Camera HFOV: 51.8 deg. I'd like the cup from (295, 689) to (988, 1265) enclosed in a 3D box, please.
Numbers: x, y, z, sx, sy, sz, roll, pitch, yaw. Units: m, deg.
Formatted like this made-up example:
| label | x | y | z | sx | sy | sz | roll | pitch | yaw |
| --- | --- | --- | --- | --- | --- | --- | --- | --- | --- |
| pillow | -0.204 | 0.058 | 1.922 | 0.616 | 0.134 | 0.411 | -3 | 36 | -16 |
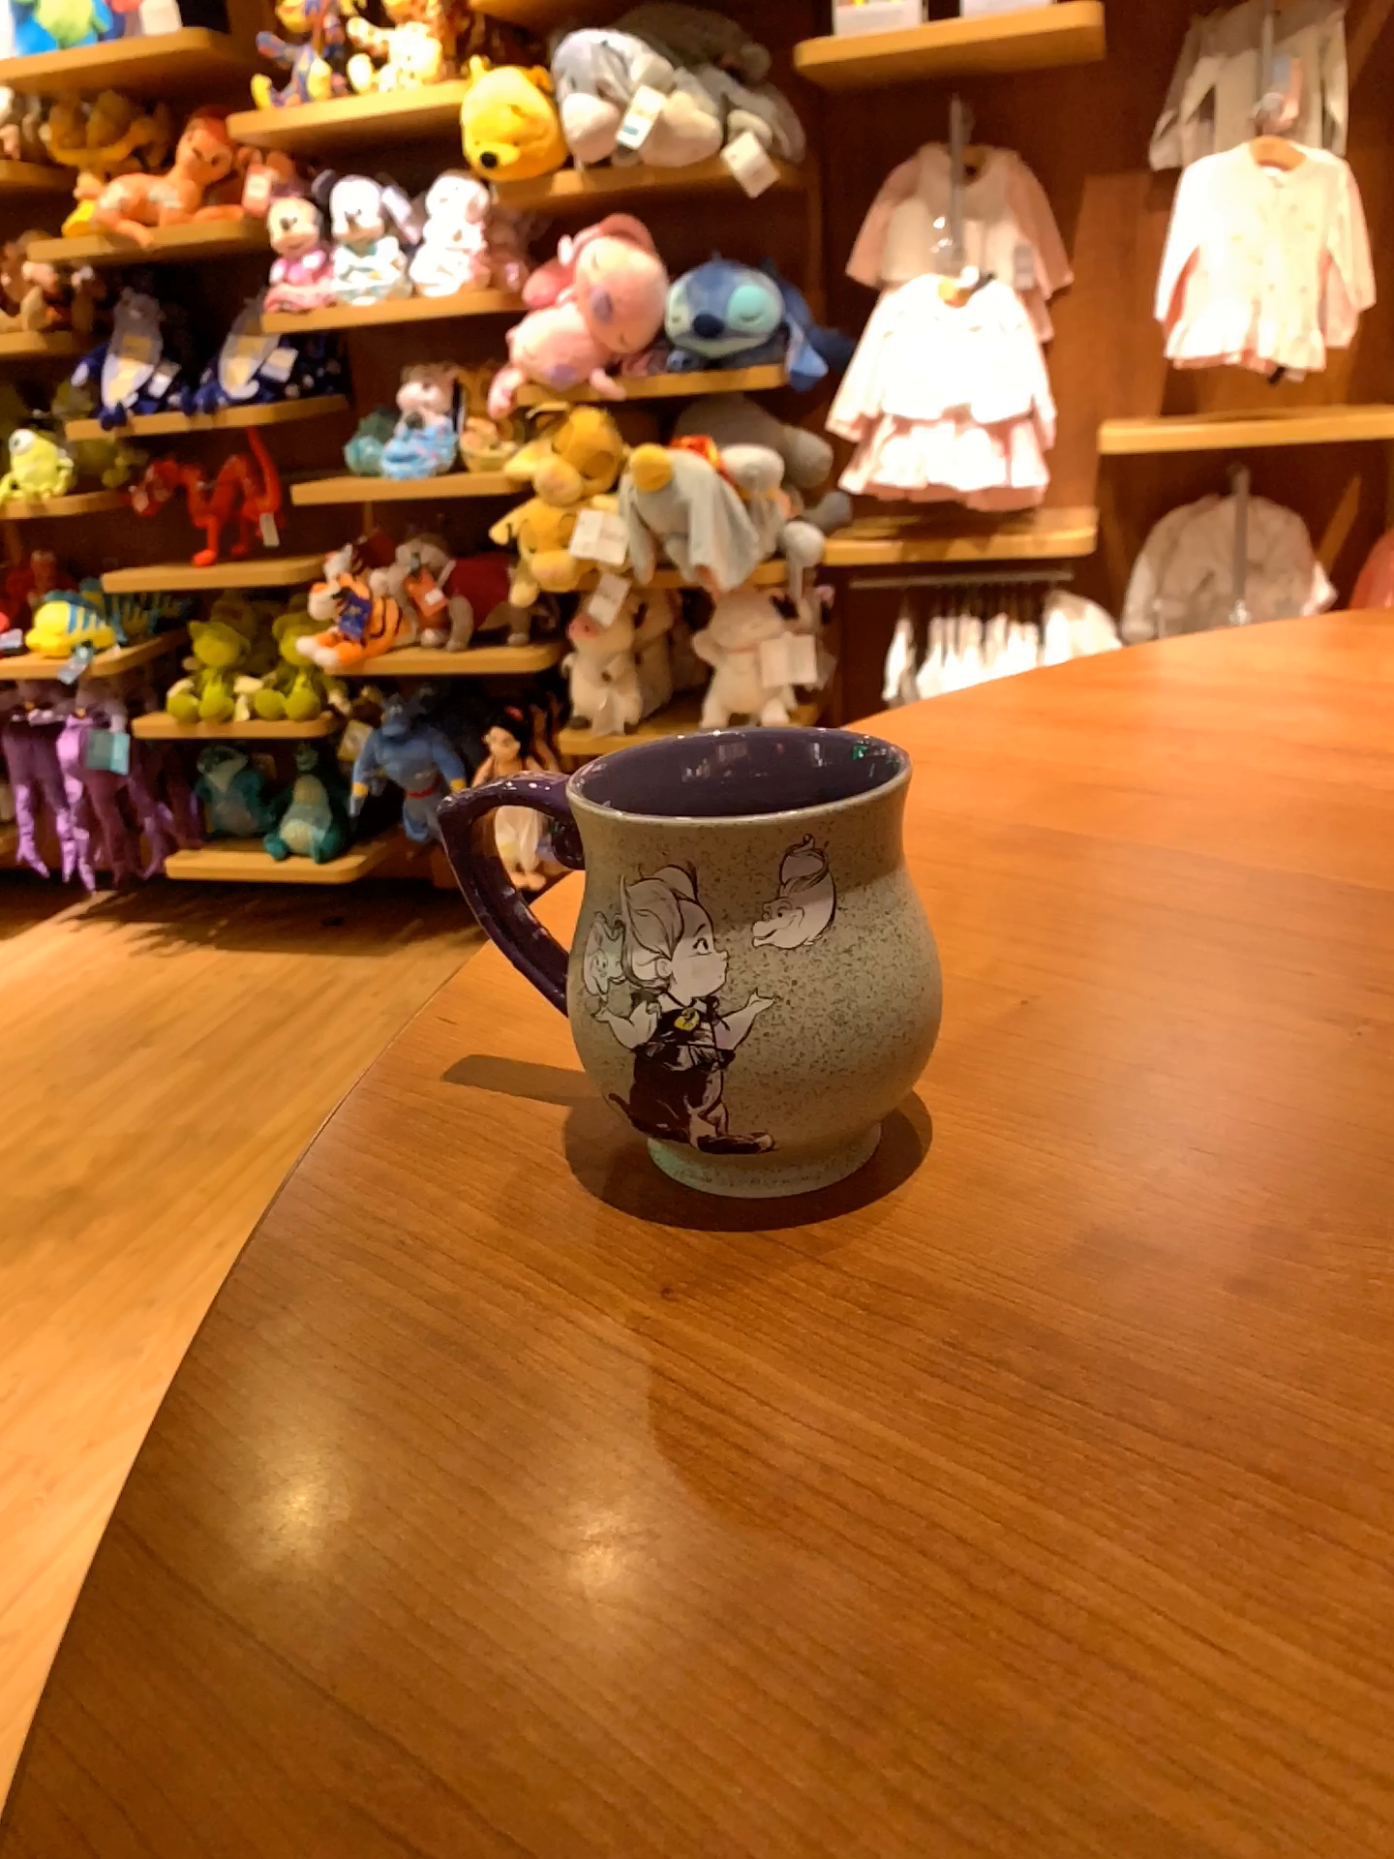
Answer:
| label | x | y | z | sx | sy | sz | roll | pitch | yaw |
| --- | --- | --- | --- | --- | --- | --- | --- | --- | --- |
| cup | -0.010 | 0.000 | 0.392 | 0.140 | 0.099 | 0.115 | 10 | 25 | 34 |
